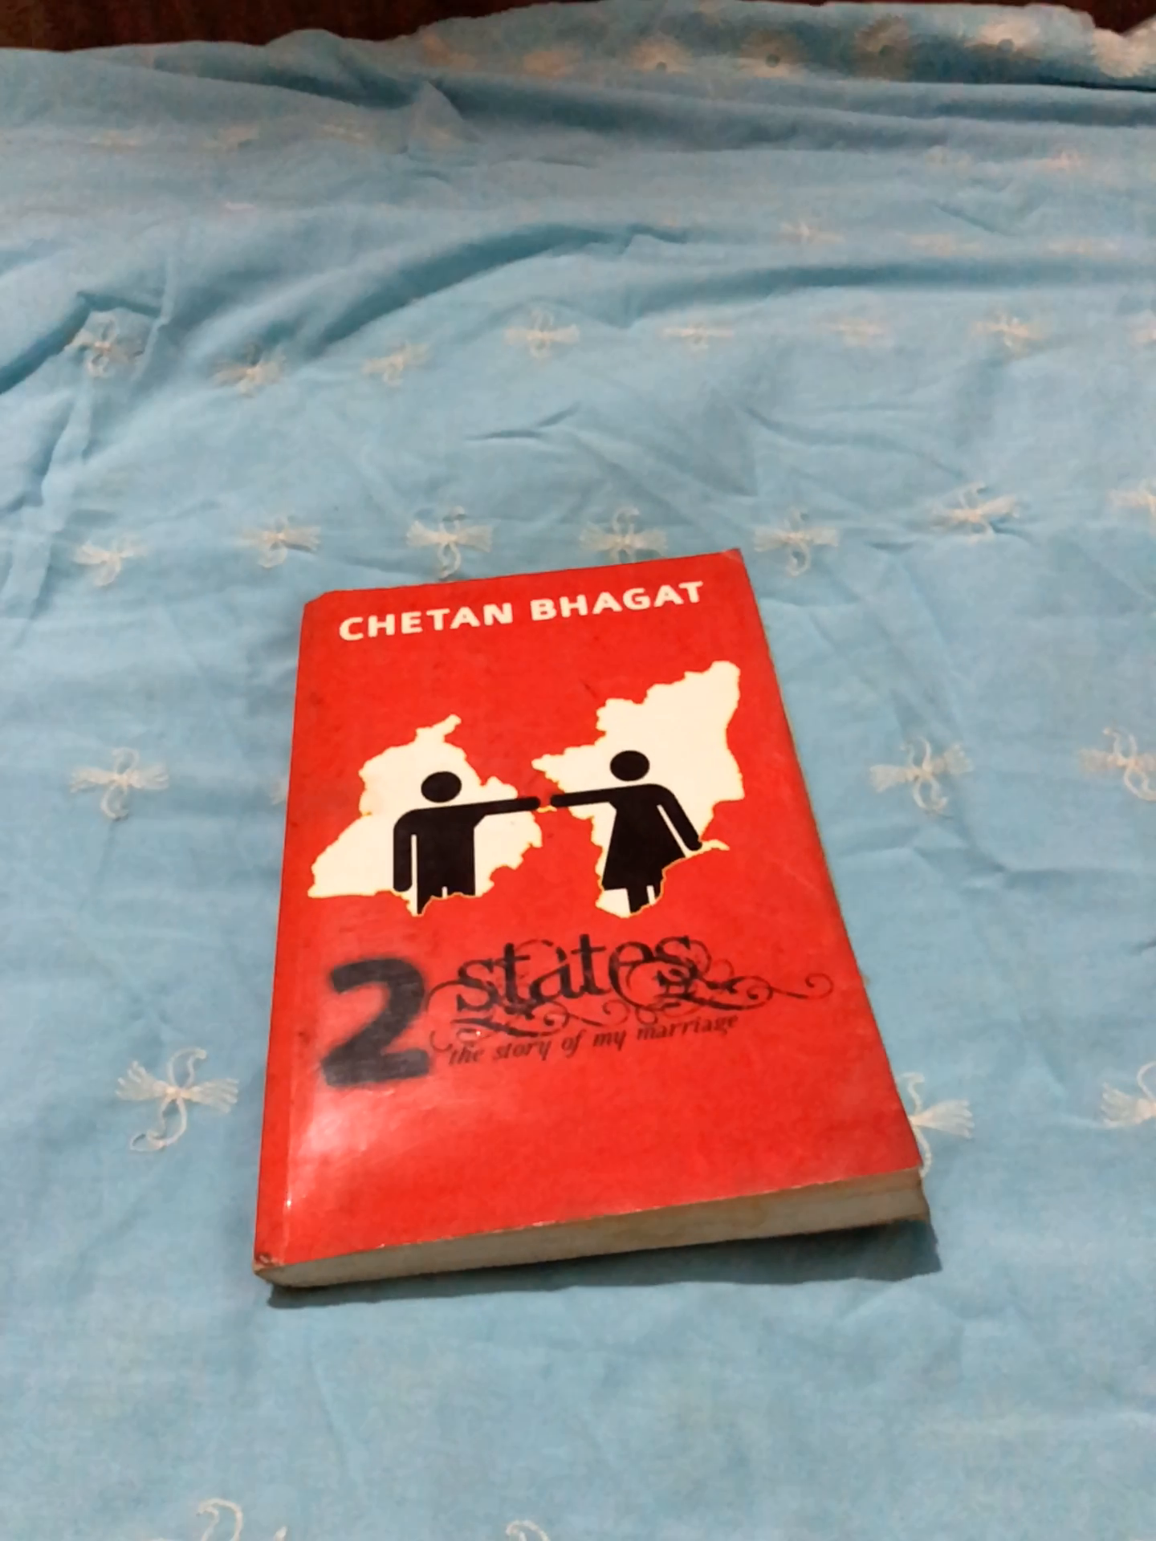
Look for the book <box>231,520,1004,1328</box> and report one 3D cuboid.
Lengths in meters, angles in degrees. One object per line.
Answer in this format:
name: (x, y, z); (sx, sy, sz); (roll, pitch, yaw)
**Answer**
book: (-0.002, 0.018, 0.311); (0.140, 0.030, 0.201); (-5, 48, -3)
